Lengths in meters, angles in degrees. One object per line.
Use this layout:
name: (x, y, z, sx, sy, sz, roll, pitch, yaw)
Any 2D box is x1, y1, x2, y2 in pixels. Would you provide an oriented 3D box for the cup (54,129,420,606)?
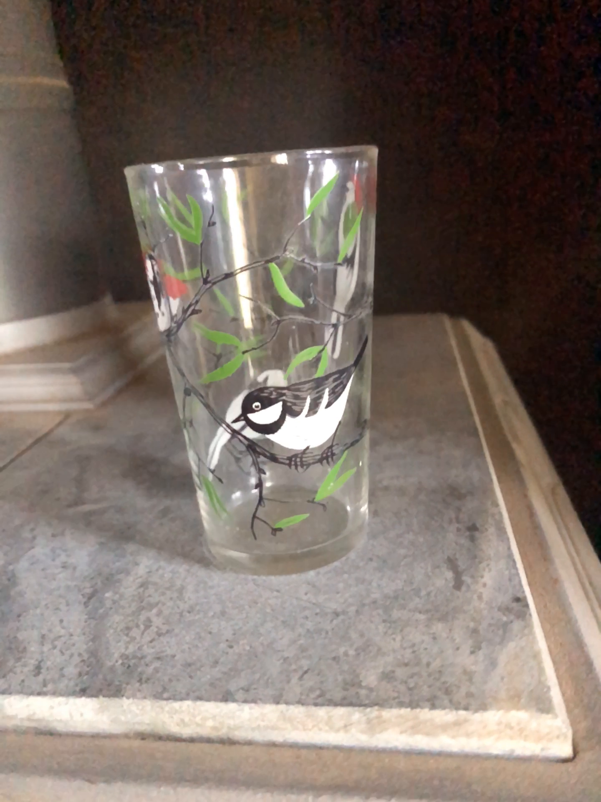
cup: (-0.013, -0.015, 0.194, 0.070, 0.110, 0.060, 9, 23, 36)
